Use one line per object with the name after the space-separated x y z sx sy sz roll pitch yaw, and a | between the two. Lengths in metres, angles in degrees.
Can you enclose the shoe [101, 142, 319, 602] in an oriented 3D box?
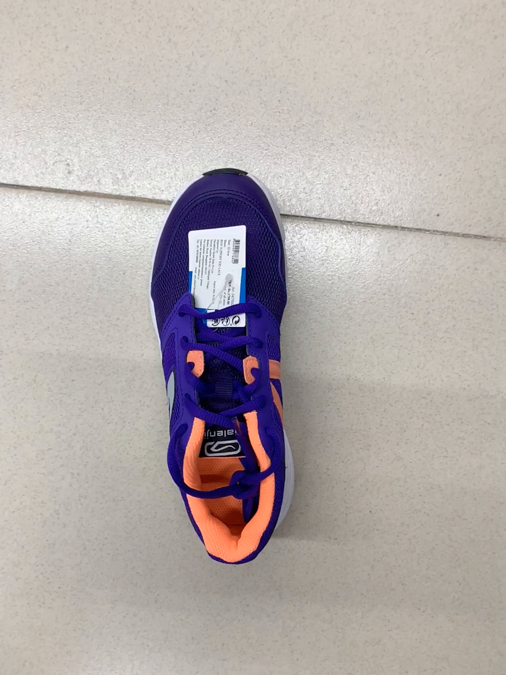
-0.021 0.020 0.338 0.100 0.100 0.250 -4 95 0 | shoe
